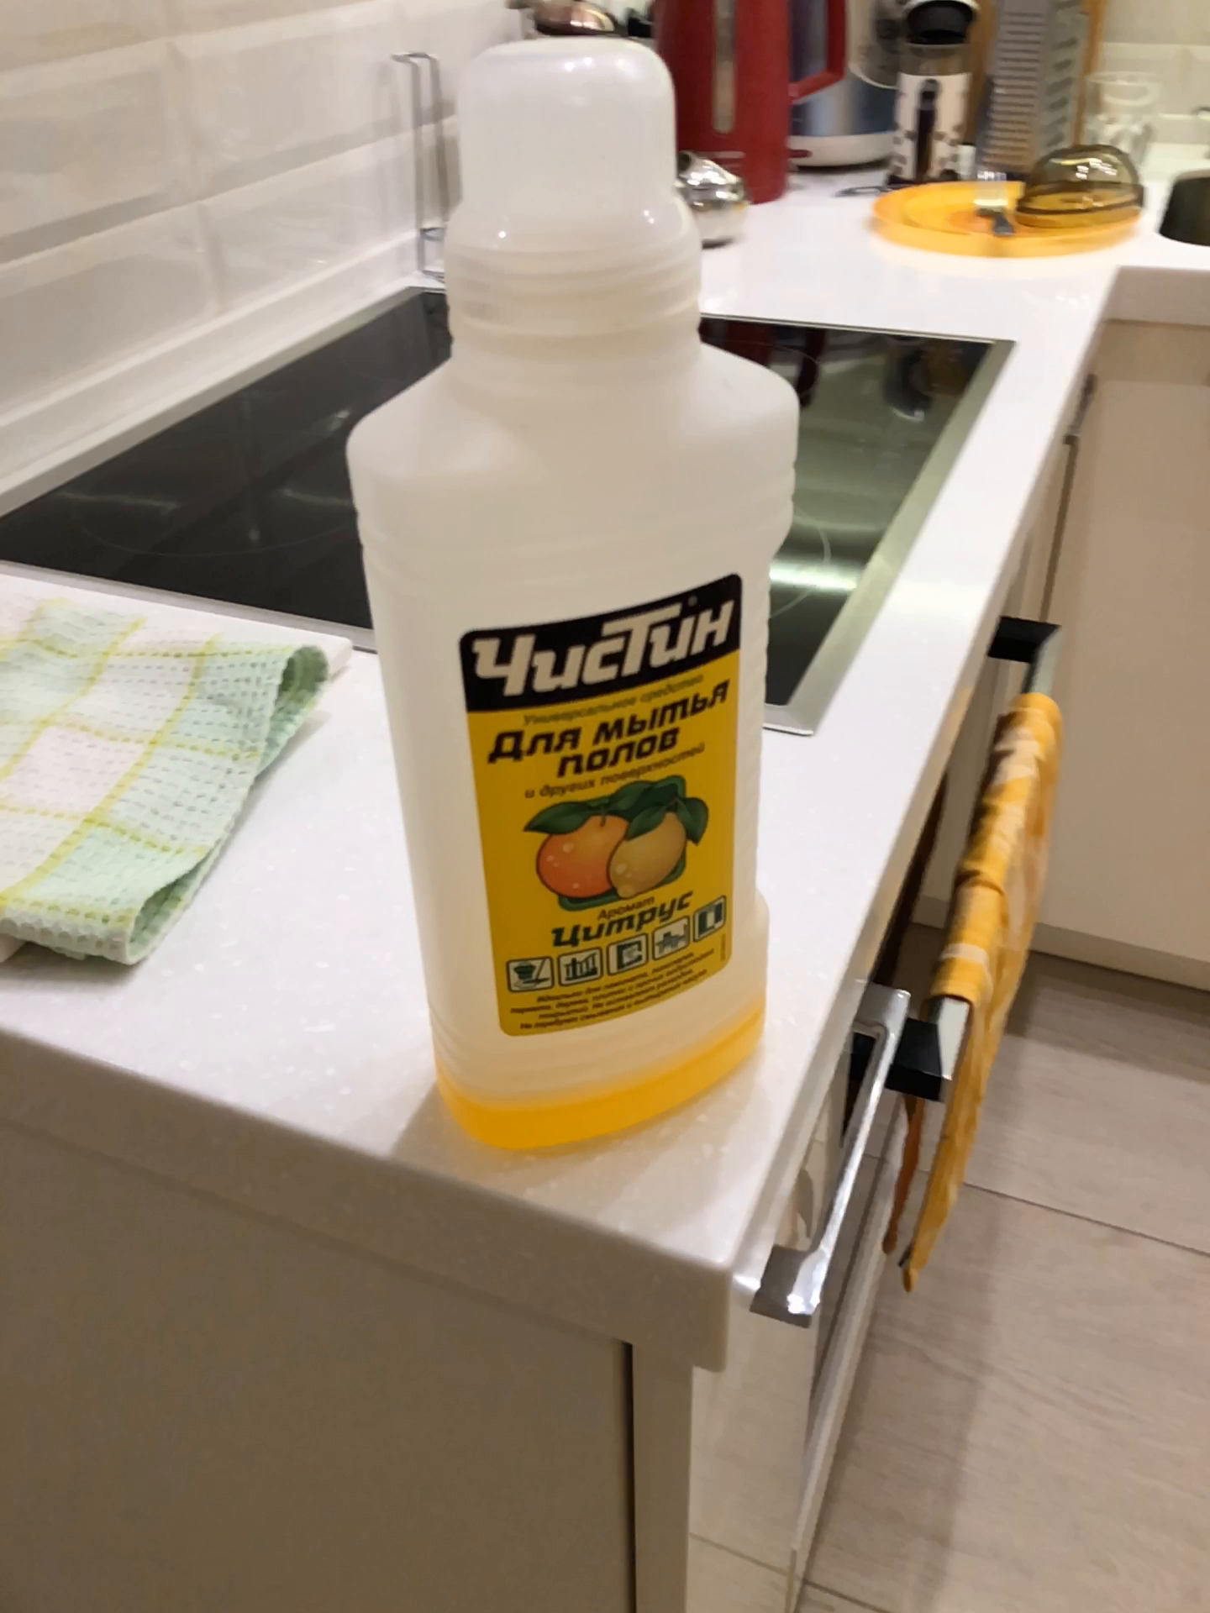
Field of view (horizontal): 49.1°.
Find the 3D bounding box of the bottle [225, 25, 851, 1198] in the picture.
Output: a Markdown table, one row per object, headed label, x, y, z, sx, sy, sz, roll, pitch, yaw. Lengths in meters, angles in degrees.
| label | x | y | z | sx | sy | sz | roll | pitch | yaw |
| --- | --- | --- | --- | --- | --- | --- | --- | --- | --- |
| bottle | -0.011 | -0.033 | 0.323 | 0.102 | 0.264 | 0.062 | -16 | 37 | -20 |
